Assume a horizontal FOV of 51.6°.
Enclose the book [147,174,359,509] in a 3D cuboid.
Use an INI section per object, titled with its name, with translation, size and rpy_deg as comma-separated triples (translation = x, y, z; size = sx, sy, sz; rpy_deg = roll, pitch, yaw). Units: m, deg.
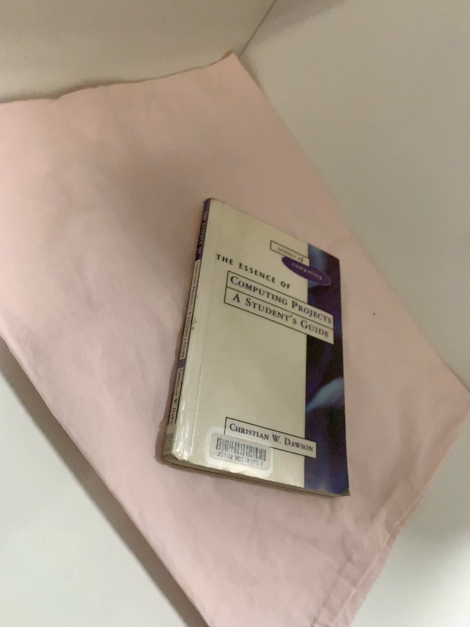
[book]
translation = 0.029, 0.016, 0.418
size = 0.170, 0.020, 0.262
rpy_deg = 20, 57, -24
